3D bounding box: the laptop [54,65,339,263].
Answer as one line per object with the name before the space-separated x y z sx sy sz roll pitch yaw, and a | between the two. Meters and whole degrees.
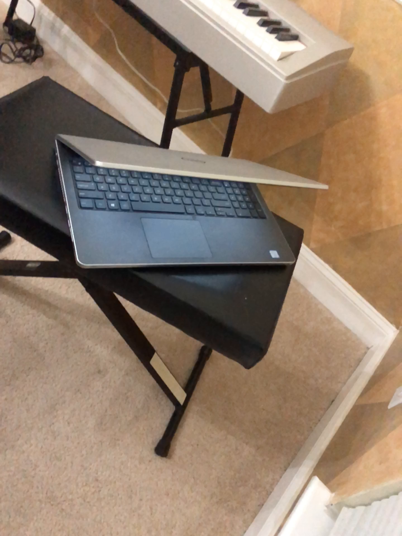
laptop | -0.013 -0.154 0.712 0.376 0.132 0.256 -2 55 -29
